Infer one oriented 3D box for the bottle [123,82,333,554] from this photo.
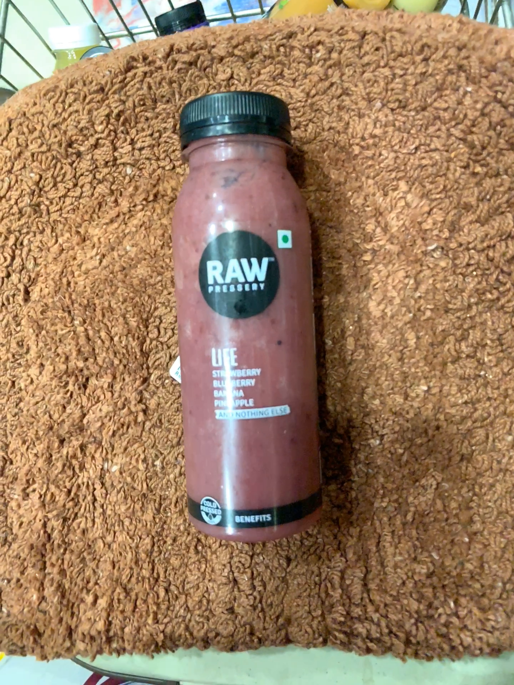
[{"bbox_3d":[-0.008,-0.007,0.197,0.060,0.050,0.150,-3,92,3],"label":"bottle"}]
